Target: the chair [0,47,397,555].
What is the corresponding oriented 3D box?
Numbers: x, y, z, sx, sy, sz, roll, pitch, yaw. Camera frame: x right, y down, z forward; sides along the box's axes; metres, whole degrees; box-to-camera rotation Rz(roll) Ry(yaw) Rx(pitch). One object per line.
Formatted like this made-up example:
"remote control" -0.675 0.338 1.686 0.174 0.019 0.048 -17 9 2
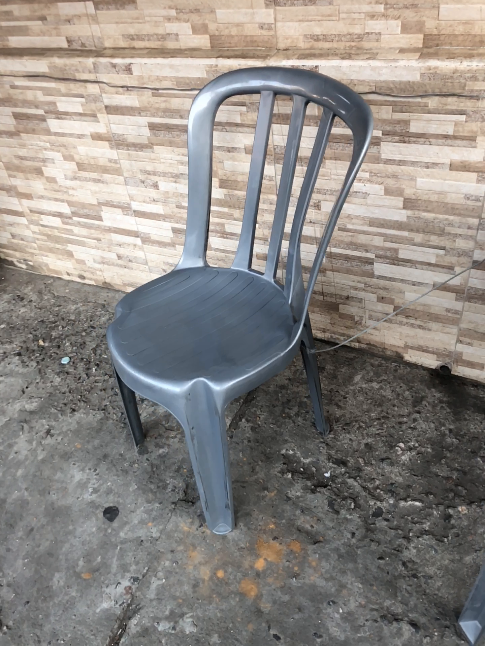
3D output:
"chair" -0.044 -0.042 1.120 0.501 0.834 0.442 -32 45 -27
